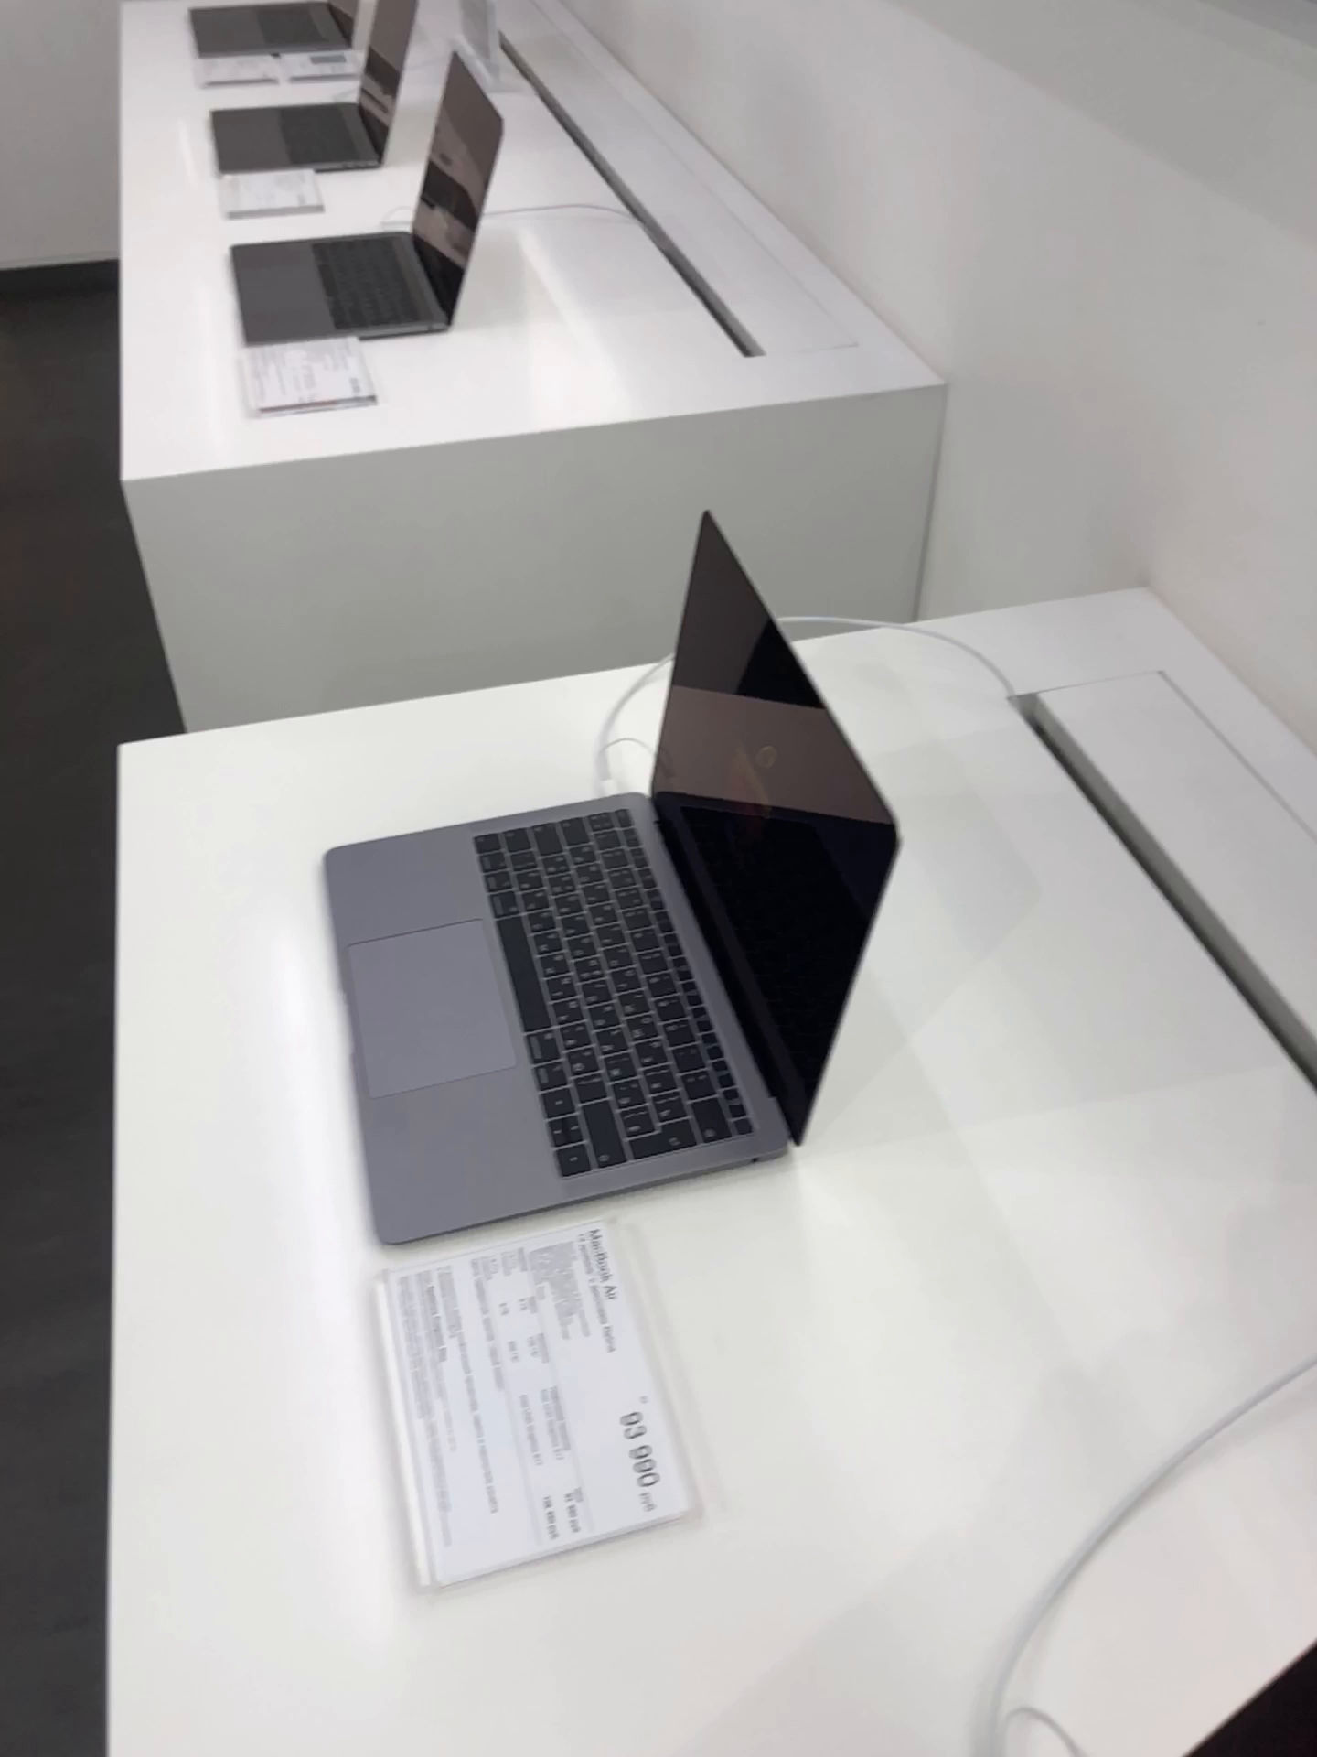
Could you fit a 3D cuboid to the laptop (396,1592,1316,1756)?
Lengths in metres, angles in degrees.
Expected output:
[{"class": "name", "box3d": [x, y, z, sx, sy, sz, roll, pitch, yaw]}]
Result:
[{"class": "laptop", "box3d": [0.106, 0.359, 0.303, 0.260, 0.184, 0.295, -9, 42, -10]}]

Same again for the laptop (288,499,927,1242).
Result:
[{"class": "laptop", "box3d": [-0.042, -0.020, 0.749, 0.250, 0.194, 0.286, -12, 42, -10]}]
